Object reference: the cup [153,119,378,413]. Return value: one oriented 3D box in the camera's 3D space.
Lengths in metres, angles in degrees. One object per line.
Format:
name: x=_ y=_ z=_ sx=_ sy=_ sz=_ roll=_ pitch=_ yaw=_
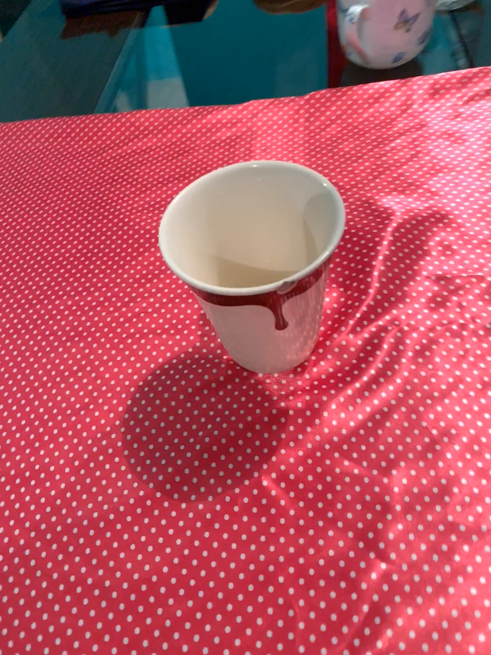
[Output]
cup: x=0.008 y=-0.037 z=0.297 sx=0.100 sy=0.090 sz=0.131 roll=-11 pitch=52 yaw=3
